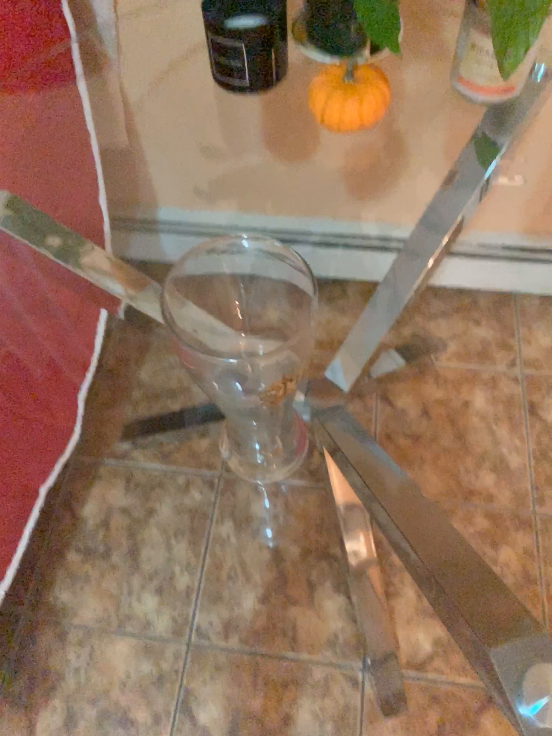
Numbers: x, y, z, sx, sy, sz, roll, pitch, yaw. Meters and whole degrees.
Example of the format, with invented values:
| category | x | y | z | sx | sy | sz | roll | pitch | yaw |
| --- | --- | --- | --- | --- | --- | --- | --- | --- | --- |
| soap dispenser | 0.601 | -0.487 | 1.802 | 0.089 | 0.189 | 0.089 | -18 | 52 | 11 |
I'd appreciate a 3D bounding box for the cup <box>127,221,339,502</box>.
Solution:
| category | x | y | z | sx | sy | sz | roll | pitch | yaw |
| --- | --- | --- | --- | --- | --- | --- | --- | --- | --- |
| cup | -0.016 | 0.011 | 0.397 | 0.100 | 0.211 | 0.093 | -1 | 60 | 2 |
